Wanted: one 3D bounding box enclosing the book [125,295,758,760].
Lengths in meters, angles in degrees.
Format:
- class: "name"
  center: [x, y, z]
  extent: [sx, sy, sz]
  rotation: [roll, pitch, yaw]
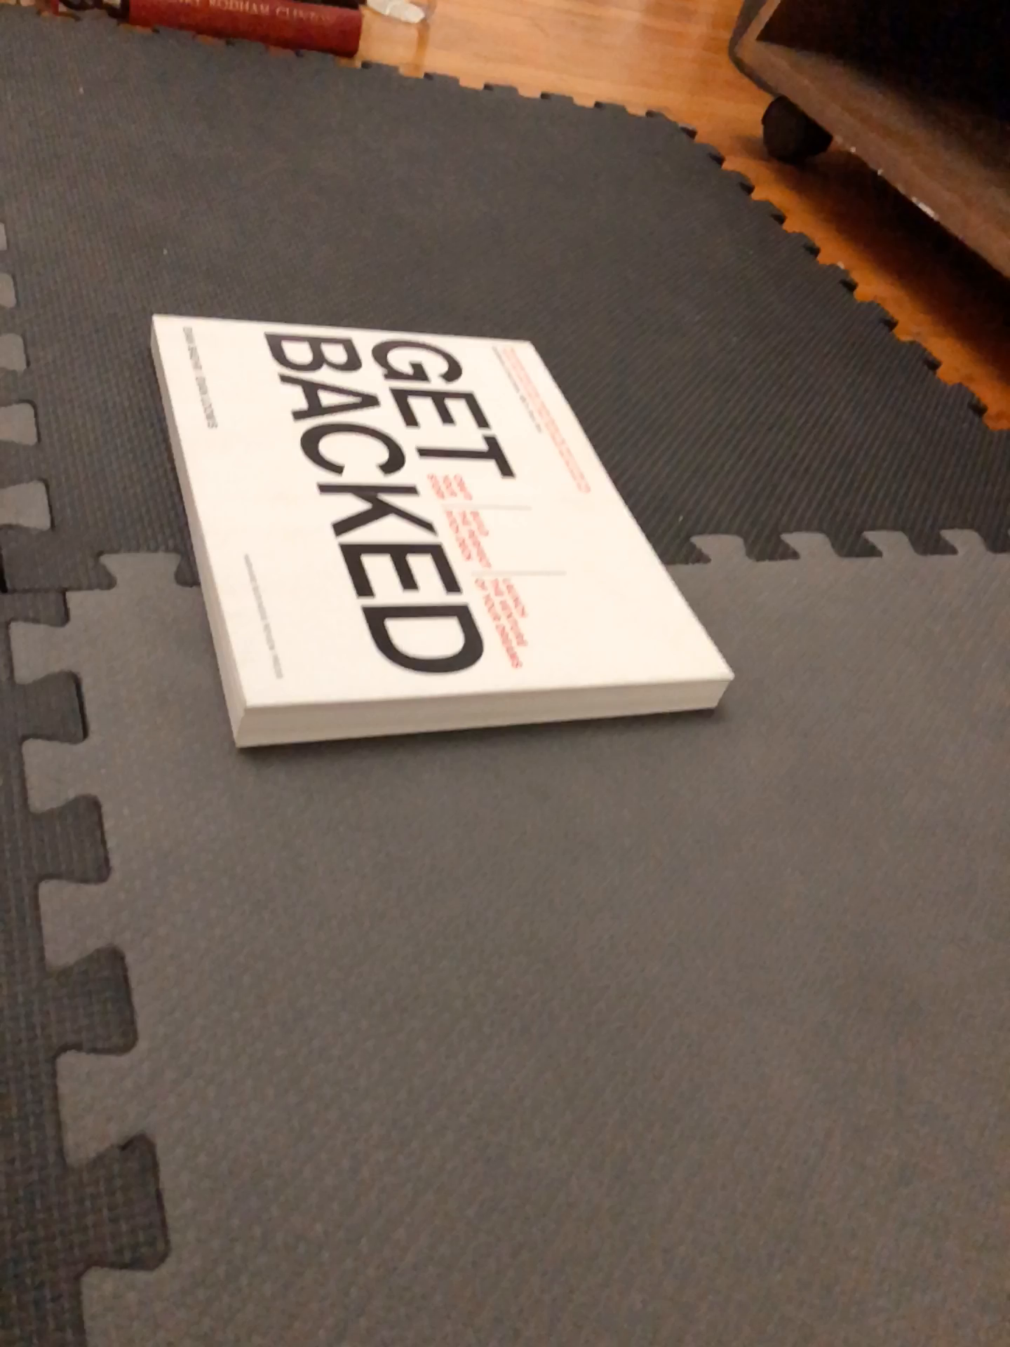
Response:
- class: "book"
  center: [-0.040, -0.079, 0.479]
  extent: [0.210, 0.020, 0.261]
  rotation: [-4, 48, -23]
